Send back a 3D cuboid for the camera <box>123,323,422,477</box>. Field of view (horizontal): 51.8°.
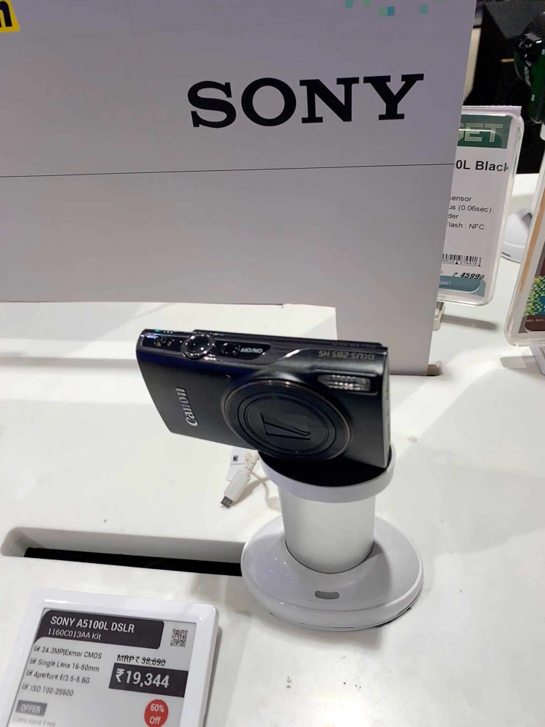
[{"bbox_3d":[0.001,0.014,0.208,0.100,0.050,0.020,5,46,12],"label":"camera"}]
